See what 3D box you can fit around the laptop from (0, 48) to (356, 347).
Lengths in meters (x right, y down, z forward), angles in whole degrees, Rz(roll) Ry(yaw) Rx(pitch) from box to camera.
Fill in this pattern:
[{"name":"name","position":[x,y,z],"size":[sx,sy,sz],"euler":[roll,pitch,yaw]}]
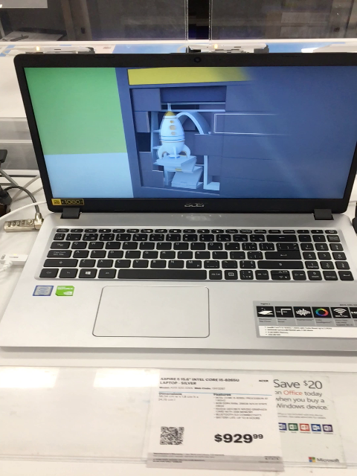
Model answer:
[{"name":"laptop","position":[0.018,-0.049,0.514],"size":[0.417,0.221,0.274],"euler":[0,45,2]}]
